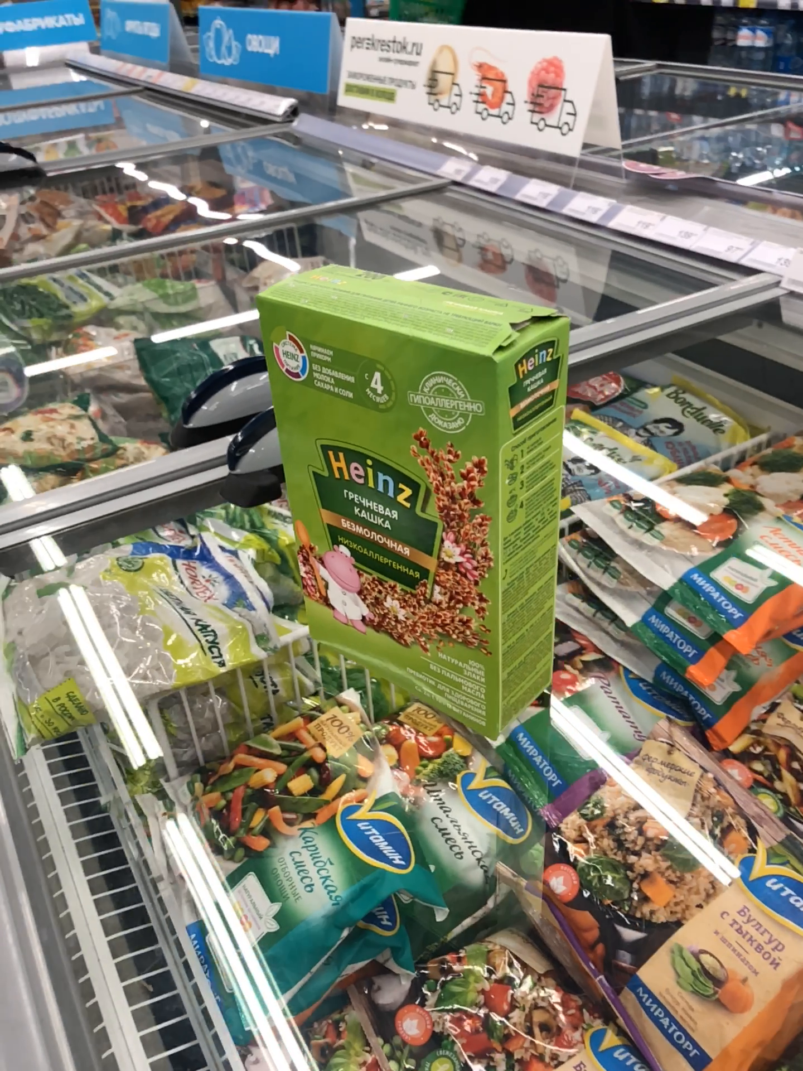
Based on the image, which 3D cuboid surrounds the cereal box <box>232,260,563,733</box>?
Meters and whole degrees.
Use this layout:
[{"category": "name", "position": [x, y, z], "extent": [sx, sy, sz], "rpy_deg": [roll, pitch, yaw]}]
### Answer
[{"category": "cereal box", "position": [0.000, -0.019, 0.421], "extent": [0.140, 0.189, 0.050], "rpy_deg": [23, 42, 35]}]
